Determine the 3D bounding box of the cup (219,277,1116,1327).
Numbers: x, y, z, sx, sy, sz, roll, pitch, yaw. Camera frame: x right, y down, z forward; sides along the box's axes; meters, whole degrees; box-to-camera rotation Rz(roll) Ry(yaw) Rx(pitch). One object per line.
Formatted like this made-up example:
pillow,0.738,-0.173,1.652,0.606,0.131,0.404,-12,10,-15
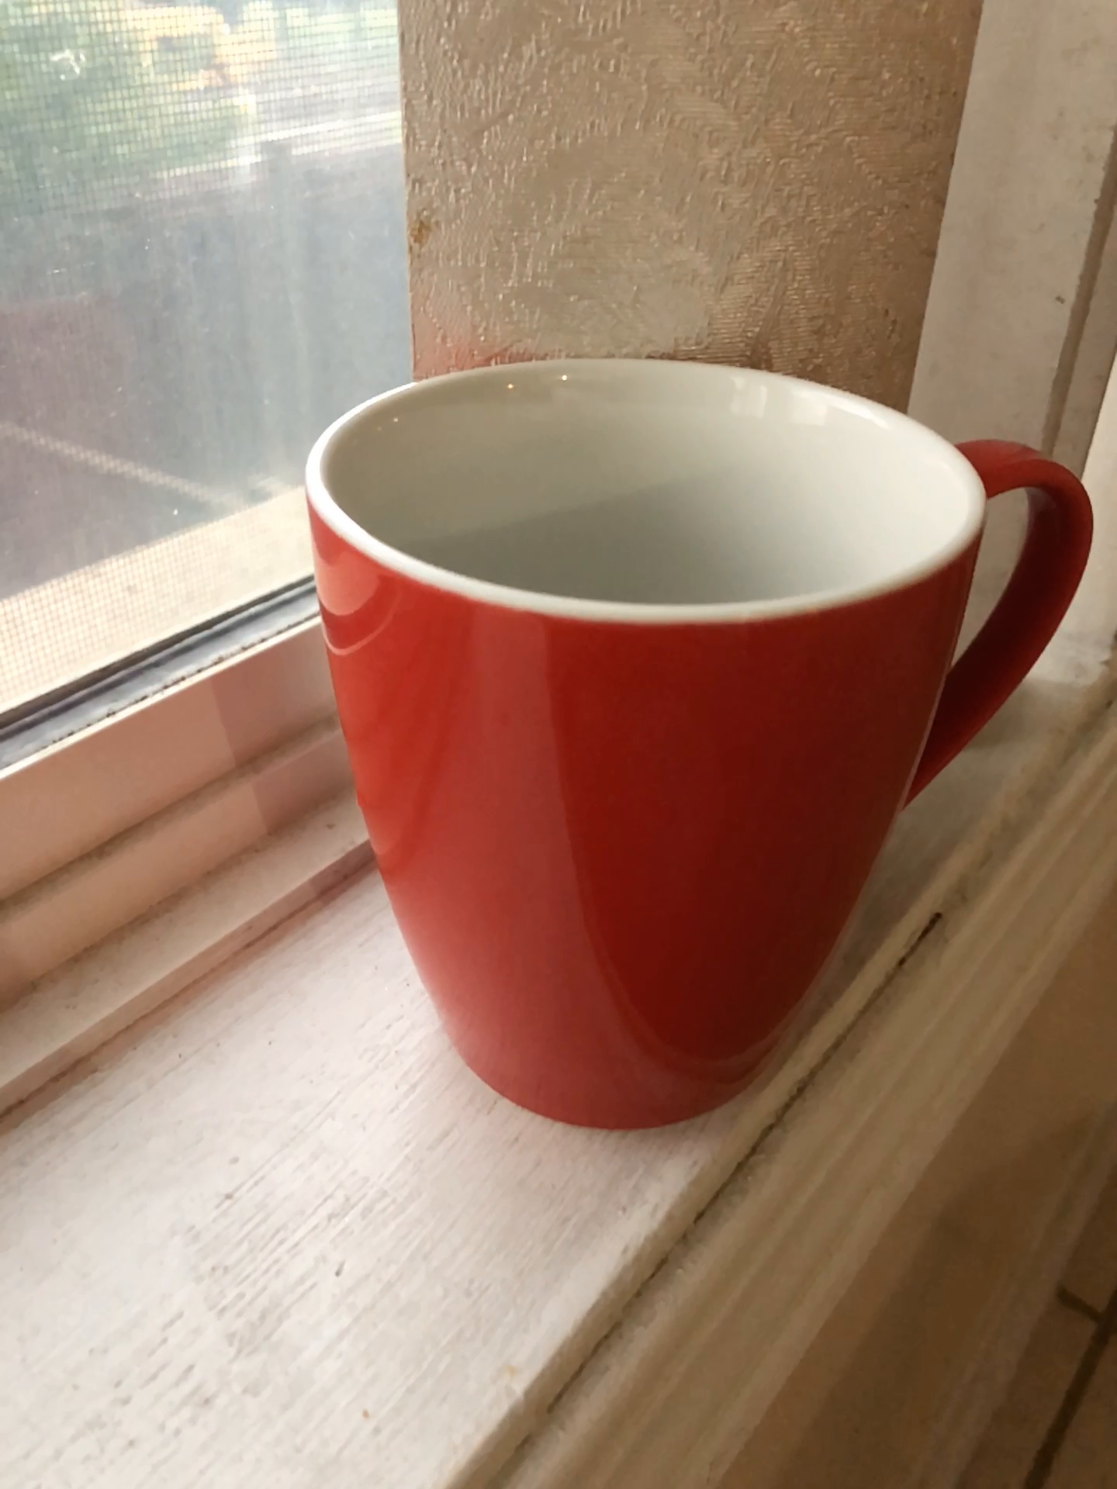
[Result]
cup,0.026,-0.005,0.181,0.110,0.090,0.080,-26,42,-36
